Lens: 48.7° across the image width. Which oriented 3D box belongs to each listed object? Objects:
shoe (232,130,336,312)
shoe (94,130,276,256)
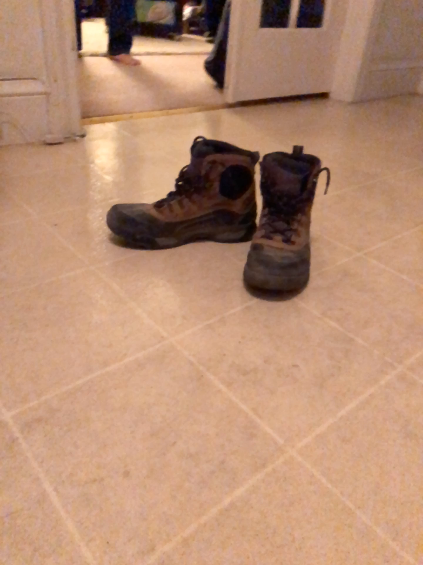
[{"bbox_3d":[0.125,-0.121,0.801,0.121,0.185,0.301,9,33,6],"label":"shoe"},{"bbox_3d":[-0.054,-0.166,0.846,0.293,0.185,0.114,-5,34,-14],"label":"shoe"}]
